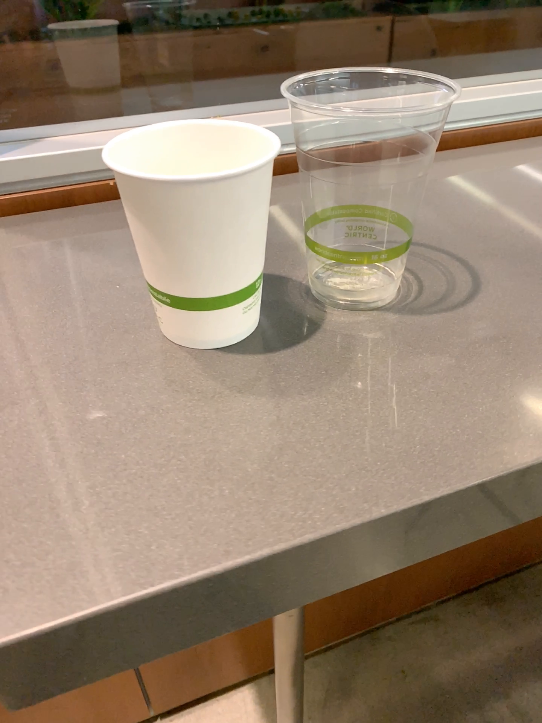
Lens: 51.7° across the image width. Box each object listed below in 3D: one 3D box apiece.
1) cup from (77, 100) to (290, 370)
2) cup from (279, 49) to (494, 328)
[{"bbox_3d":[-0.042,-0.071,0.306,0.090,0.109,0.091,-1,37,1],"label":"cup"},{"bbox_3d":[0.053,-0.100,0.319,0.080,0.119,0.101,-6,38,-6],"label":"cup"}]
